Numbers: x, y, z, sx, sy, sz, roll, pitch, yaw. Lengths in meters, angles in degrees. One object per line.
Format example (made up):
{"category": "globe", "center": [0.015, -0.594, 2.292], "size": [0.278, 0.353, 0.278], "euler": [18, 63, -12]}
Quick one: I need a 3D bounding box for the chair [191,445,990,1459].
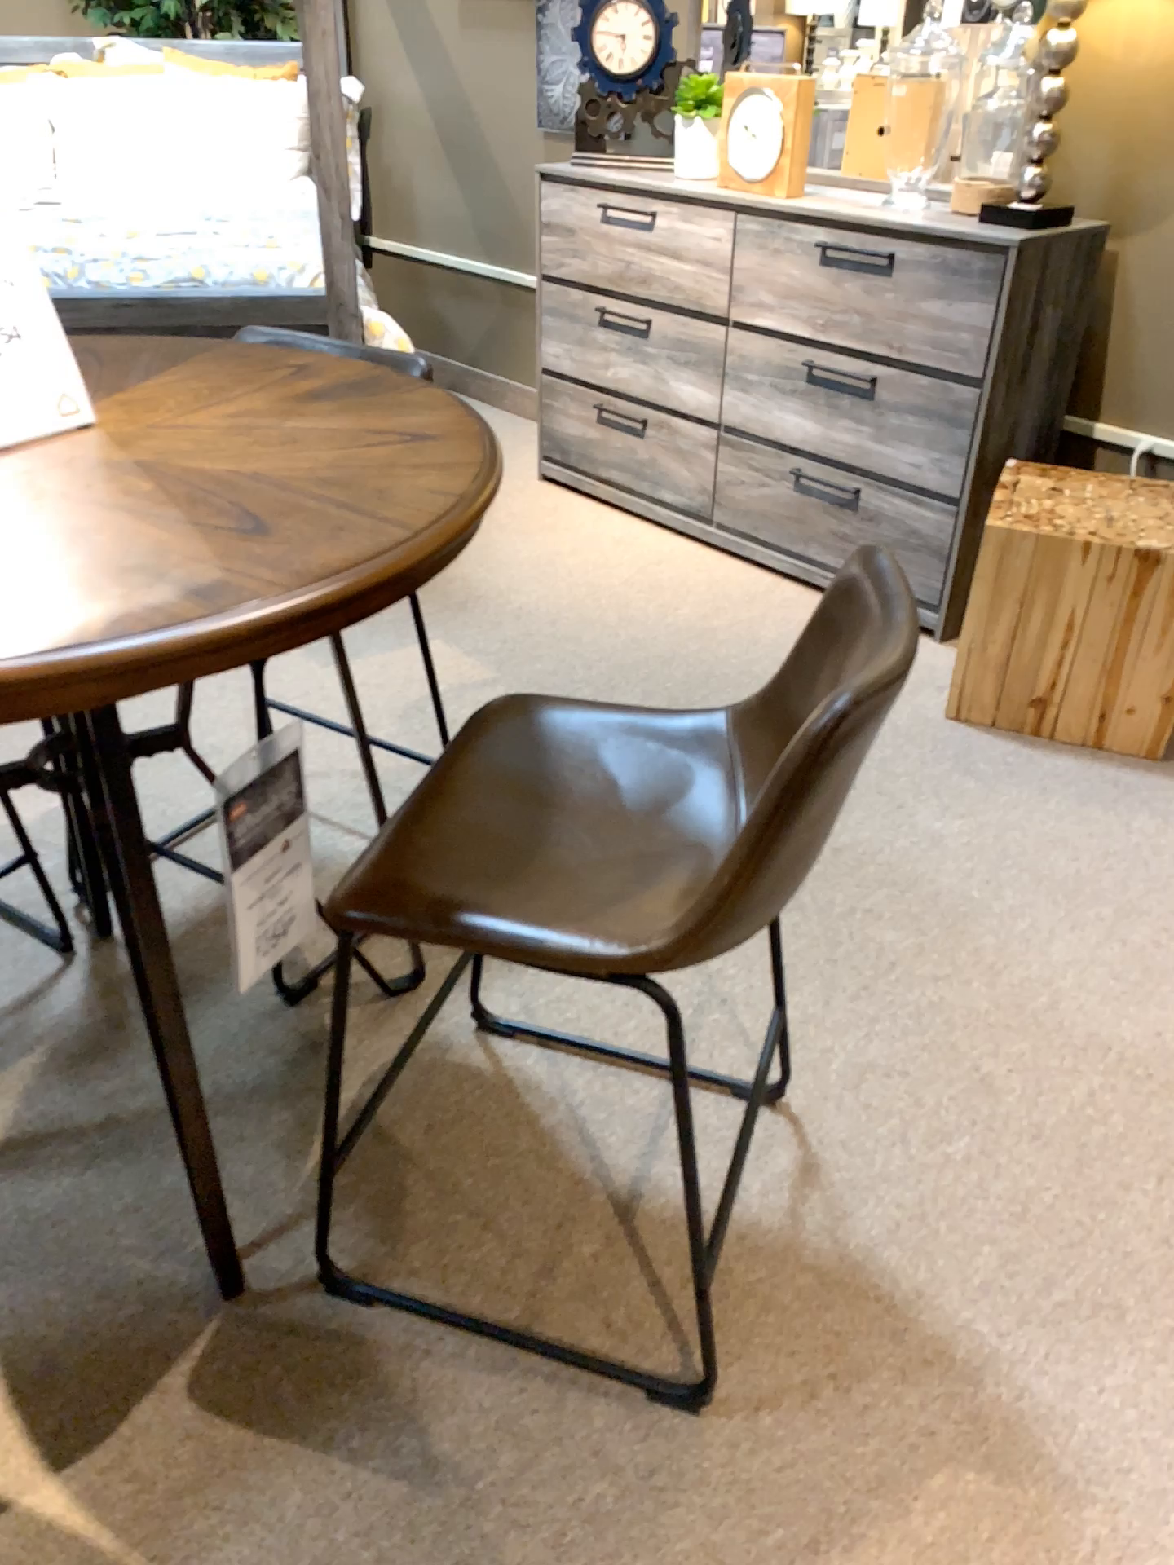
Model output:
{"category": "chair", "center": [0.053, 0.145, 1.307], "size": [0.580, 0.806, 0.603], "euler": [11, 34, 15]}
